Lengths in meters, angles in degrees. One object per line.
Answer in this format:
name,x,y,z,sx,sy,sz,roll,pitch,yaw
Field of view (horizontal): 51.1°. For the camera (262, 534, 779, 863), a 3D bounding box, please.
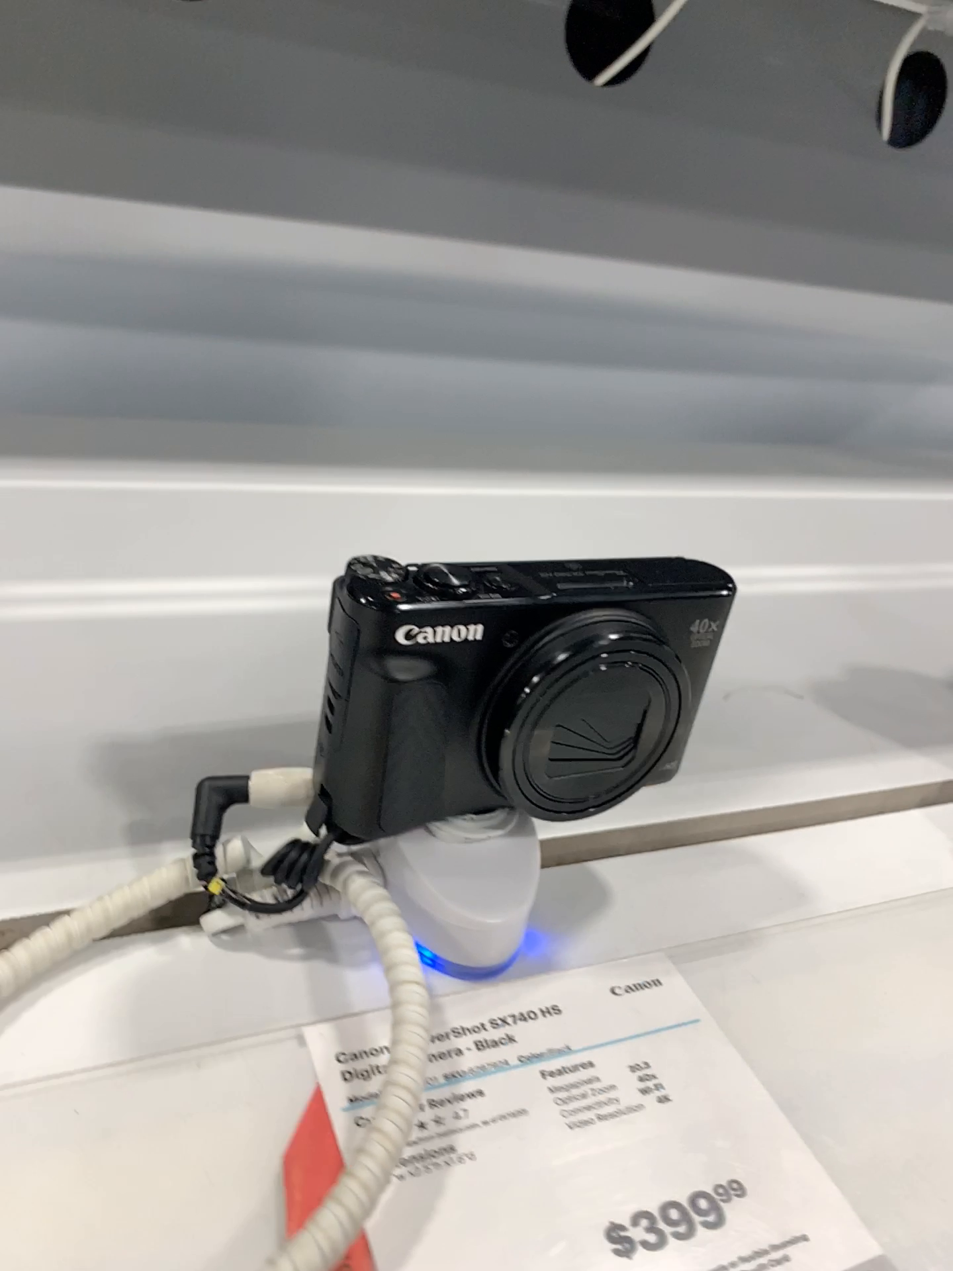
camera,0.011,0.012,0.261,0.120,0.063,0.042,-4,29,-27
